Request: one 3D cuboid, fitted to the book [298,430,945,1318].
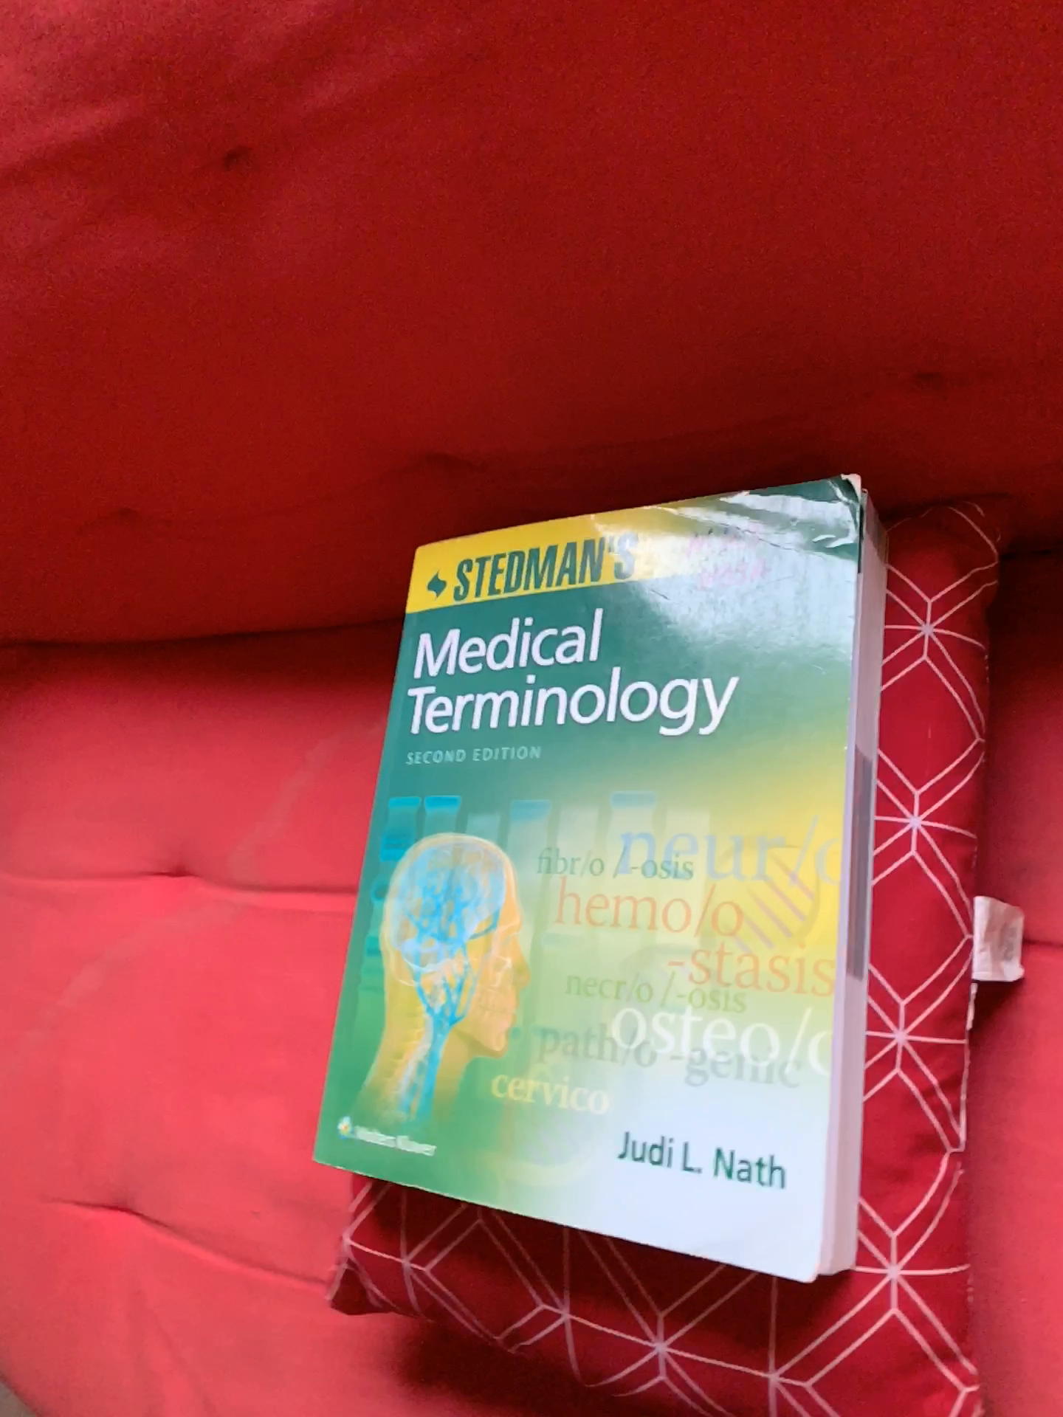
[{"bbox_3d":[0.035,0.049,0.444,0.241,0.040,0.300,-2,72,30],"label":"book"}]
